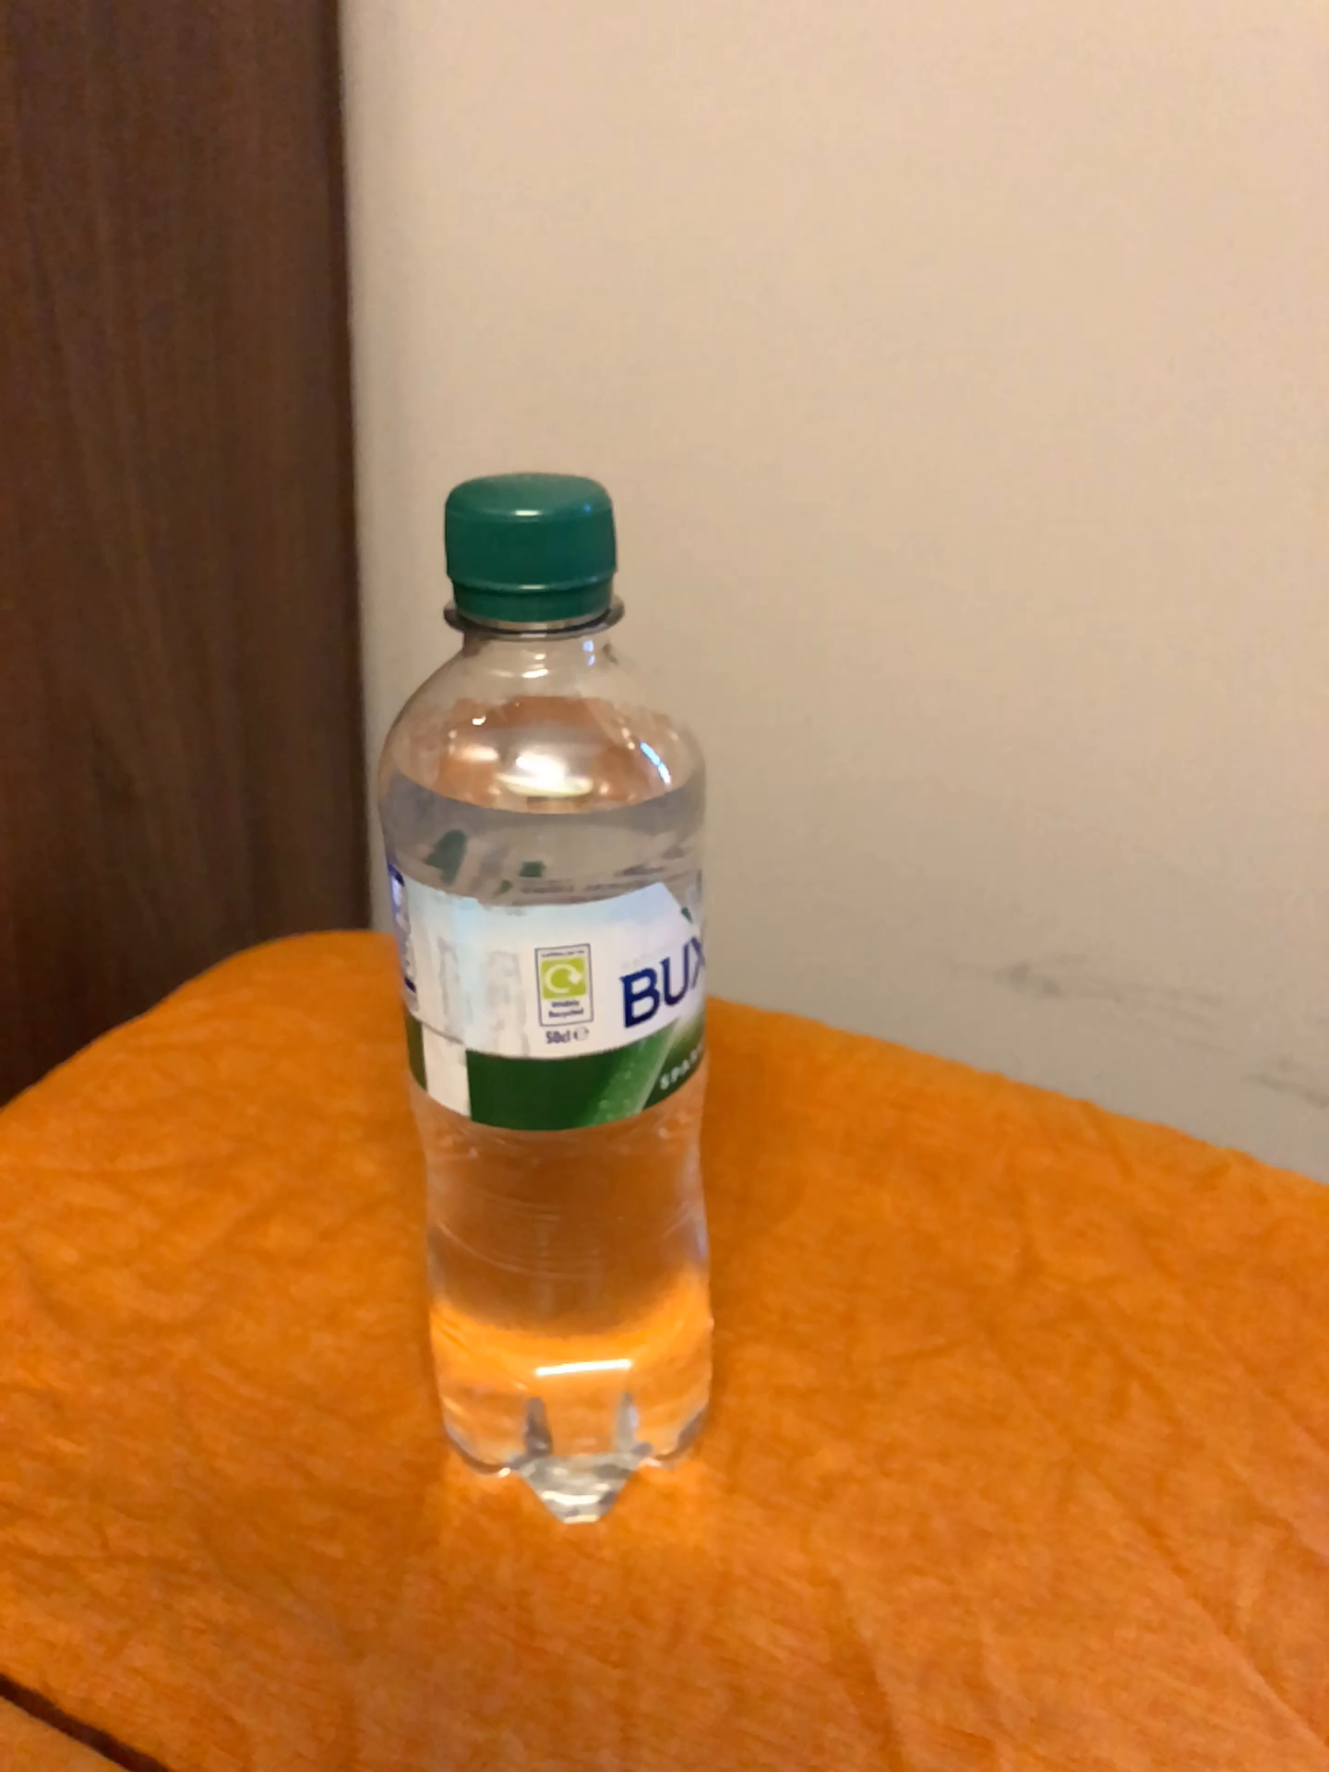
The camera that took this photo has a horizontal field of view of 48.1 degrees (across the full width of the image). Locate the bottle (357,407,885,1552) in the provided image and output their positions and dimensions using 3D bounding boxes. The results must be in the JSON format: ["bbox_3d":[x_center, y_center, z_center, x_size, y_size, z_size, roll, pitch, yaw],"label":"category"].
[{"bbox_3d":[-0.011,0.023,0.310,0.070,0.219,0.070,3,27,-2],"label":"bottle"}]
